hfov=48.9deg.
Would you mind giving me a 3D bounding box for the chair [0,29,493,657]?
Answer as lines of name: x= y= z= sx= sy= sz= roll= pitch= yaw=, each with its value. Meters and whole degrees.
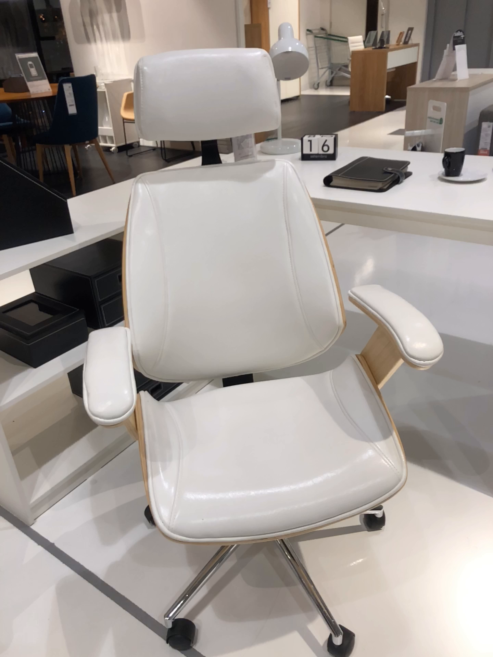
chair: x=0.014 y=0.036 z=1.122 sx=0.670 sy=1.102 sz=0.705 roll=-8 pitch=29 yaw=-8
